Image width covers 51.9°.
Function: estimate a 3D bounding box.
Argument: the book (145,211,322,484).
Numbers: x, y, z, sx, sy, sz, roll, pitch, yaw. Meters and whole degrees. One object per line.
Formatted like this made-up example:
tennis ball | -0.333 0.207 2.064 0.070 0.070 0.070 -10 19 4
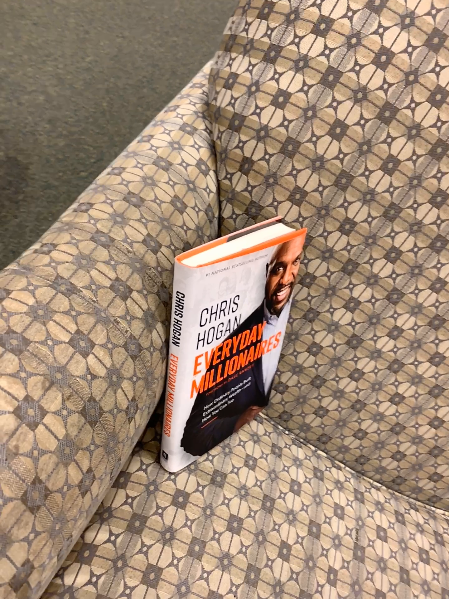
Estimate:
book | 0.005 0.048 0.454 0.161 0.244 0.038 -22 43 -40
